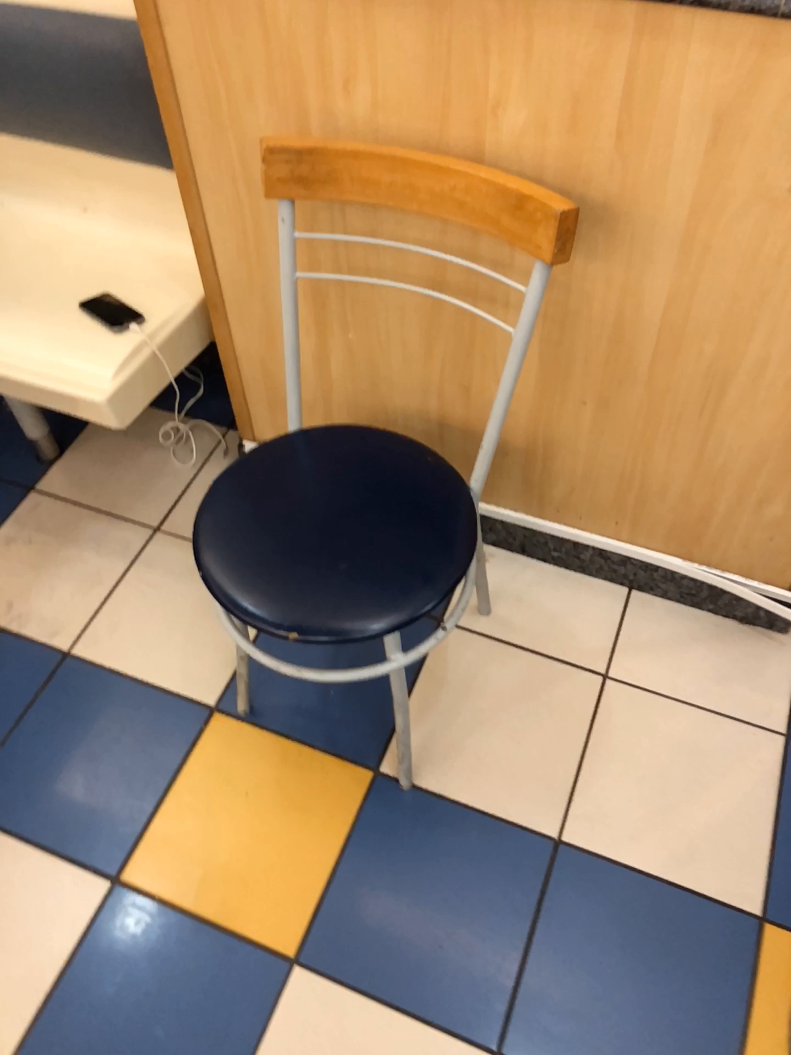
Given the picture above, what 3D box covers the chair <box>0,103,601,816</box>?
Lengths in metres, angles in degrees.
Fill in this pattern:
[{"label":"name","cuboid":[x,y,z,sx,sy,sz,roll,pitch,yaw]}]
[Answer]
[{"label":"chair","cuboid":[-0.055,-0.060,1.200,0.440,0.746,0.523,18,54,16]}]
